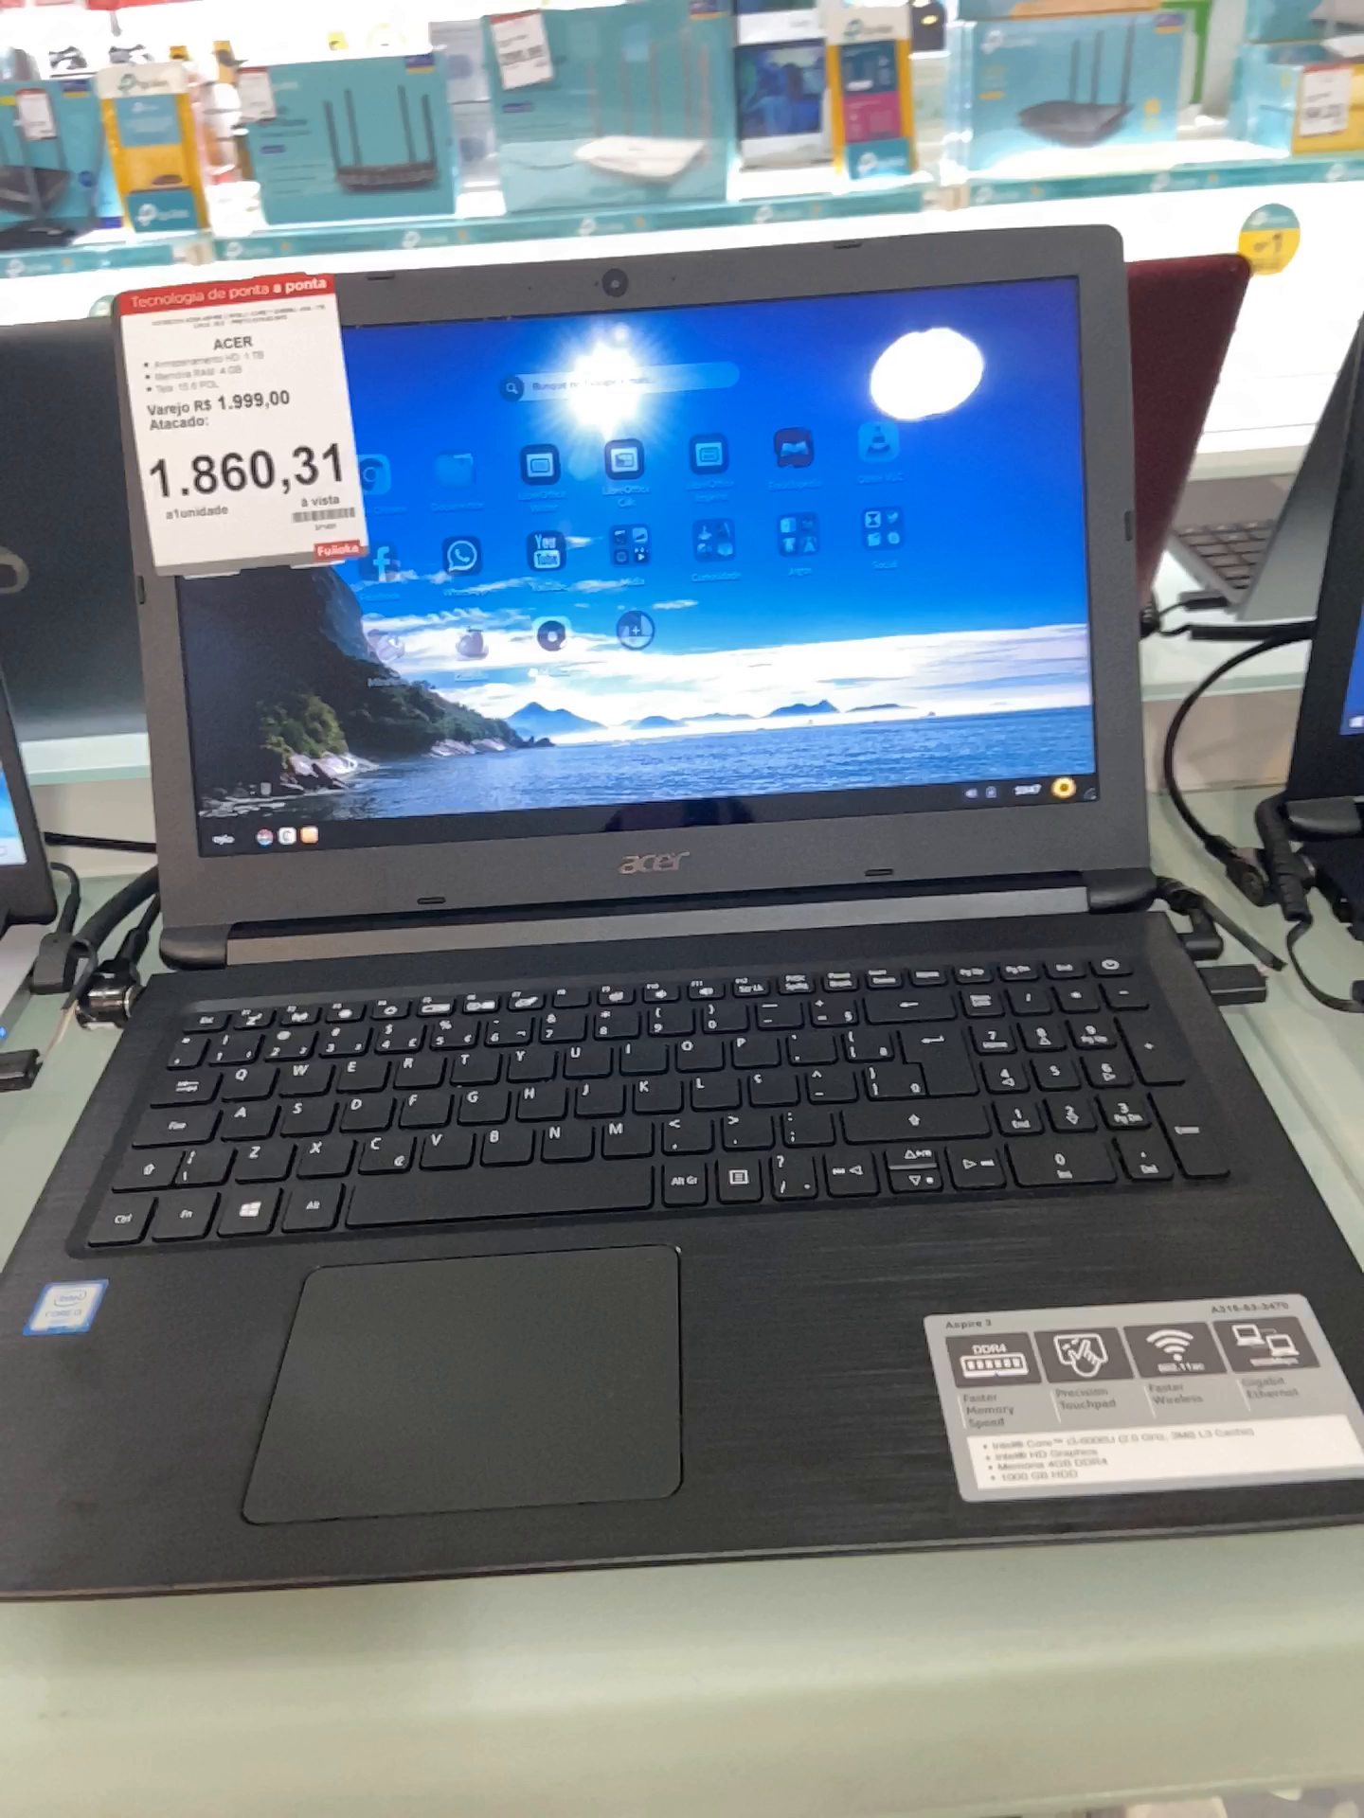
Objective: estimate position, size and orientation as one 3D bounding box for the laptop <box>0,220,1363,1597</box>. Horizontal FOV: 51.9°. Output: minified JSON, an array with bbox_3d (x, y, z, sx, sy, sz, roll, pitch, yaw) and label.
[{"bbox_3d":[-0.017,-0.048,0.426,0.379,0.215,0.381,-4,33,2],"label":"laptop"}]
